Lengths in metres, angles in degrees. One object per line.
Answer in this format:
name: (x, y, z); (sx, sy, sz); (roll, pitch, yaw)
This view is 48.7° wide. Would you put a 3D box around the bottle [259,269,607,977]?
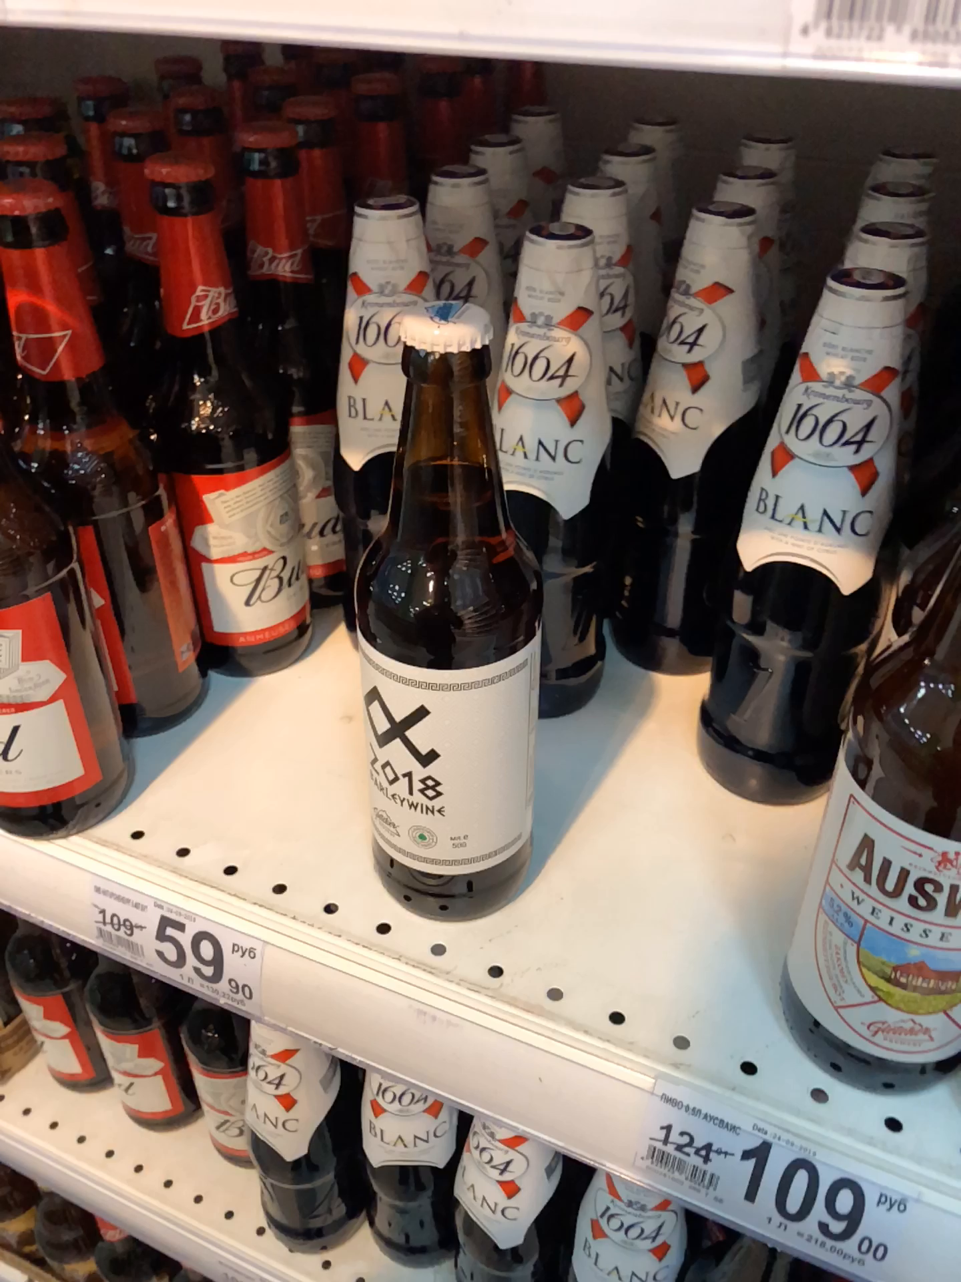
bottle: (-0.011, 0.004, 0.396); (0.080, 0.251, 0.070); (20, 41, 26)
